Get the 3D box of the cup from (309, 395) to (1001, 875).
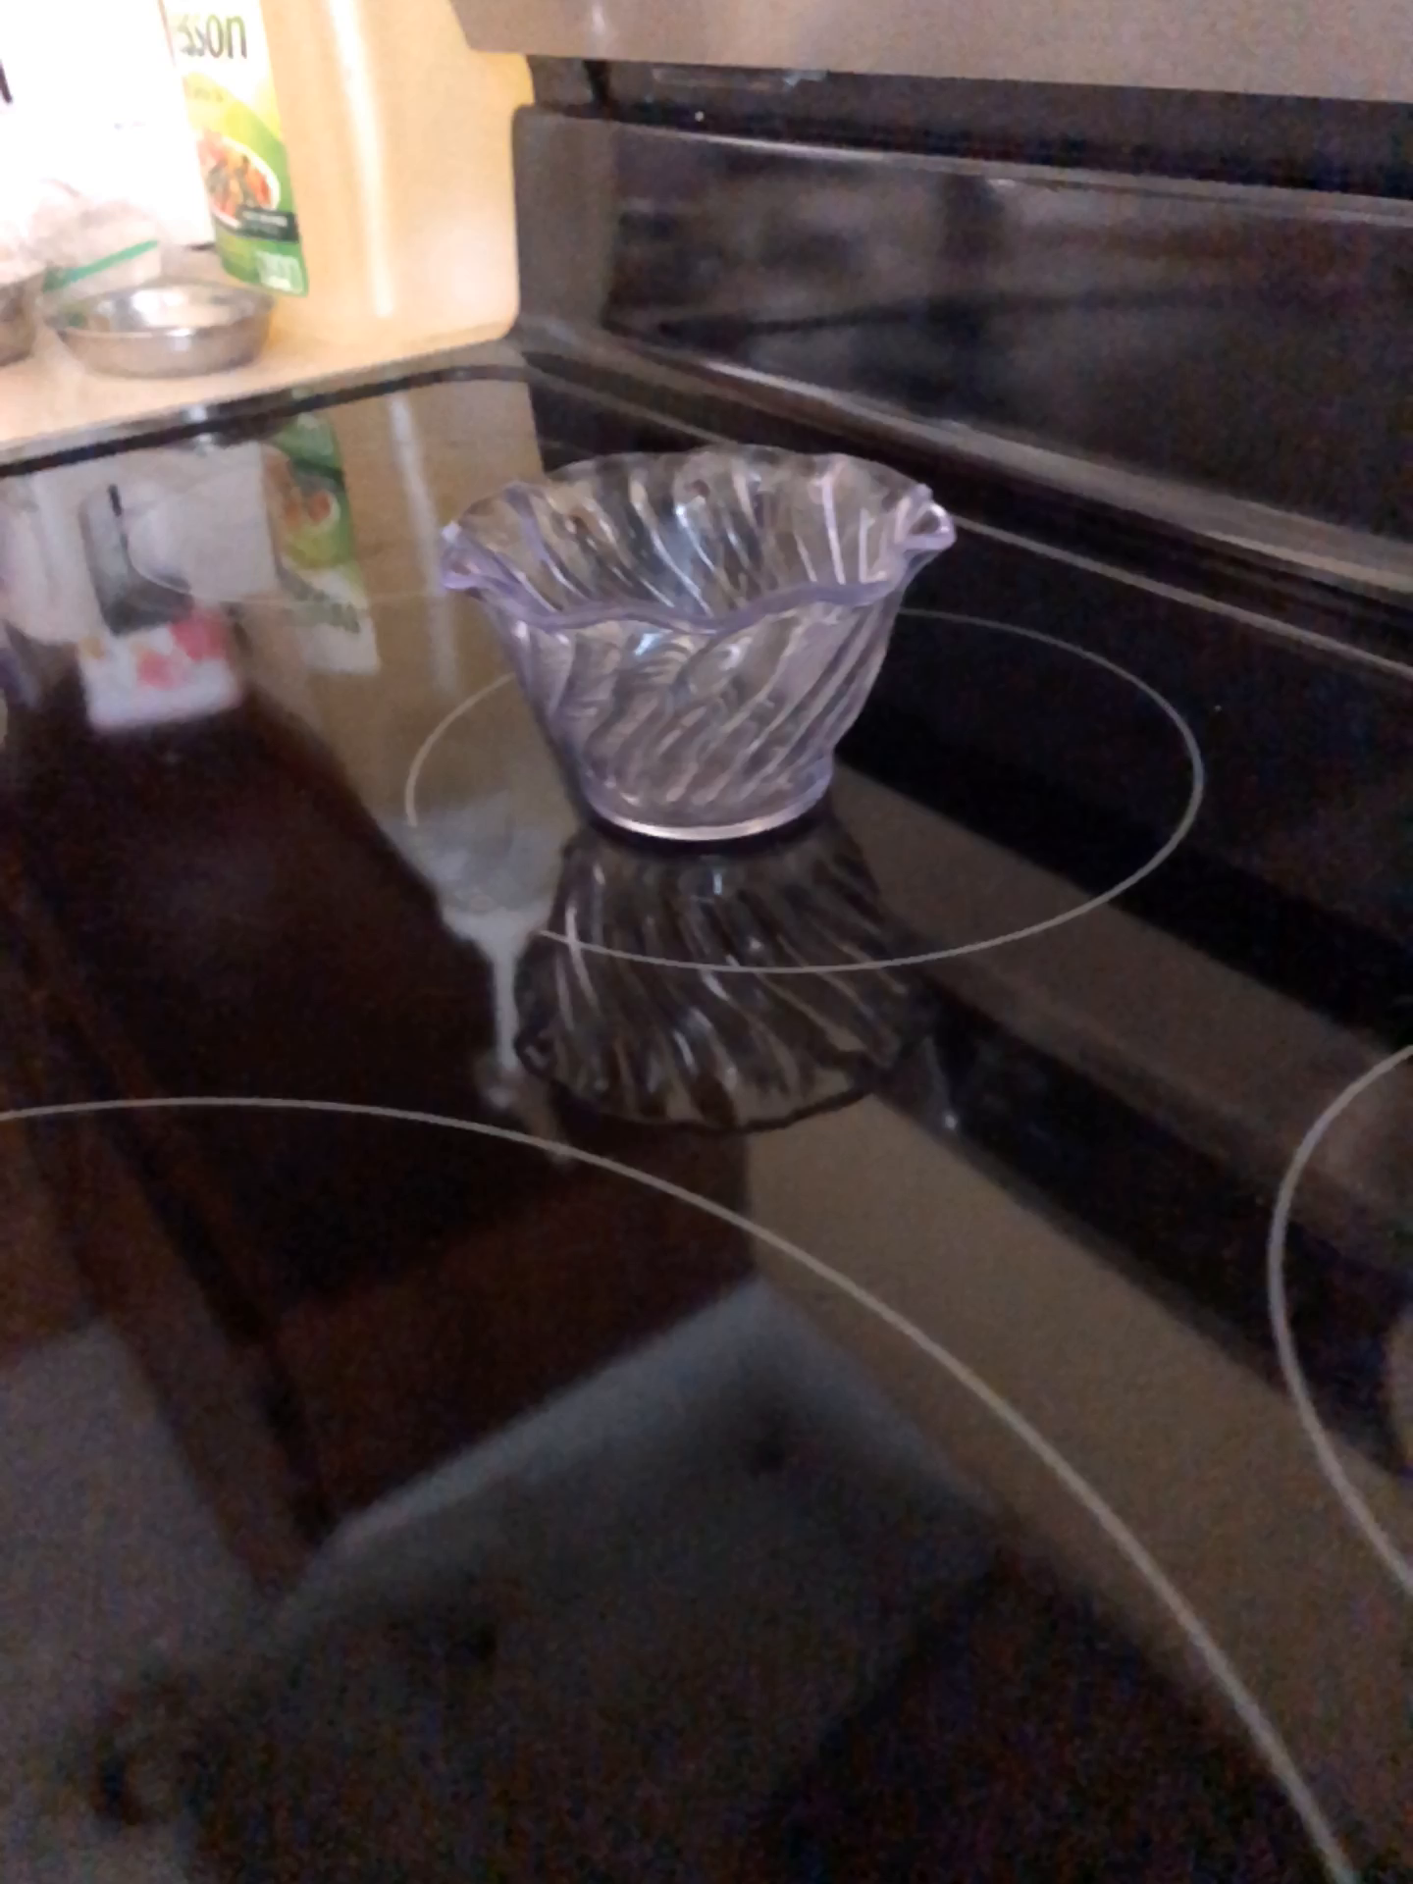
[{"bbox_3d":[-0.002,-0.064,0.299,0.101,0.052,0.100,-3,32,2],"label":"cup"}]
